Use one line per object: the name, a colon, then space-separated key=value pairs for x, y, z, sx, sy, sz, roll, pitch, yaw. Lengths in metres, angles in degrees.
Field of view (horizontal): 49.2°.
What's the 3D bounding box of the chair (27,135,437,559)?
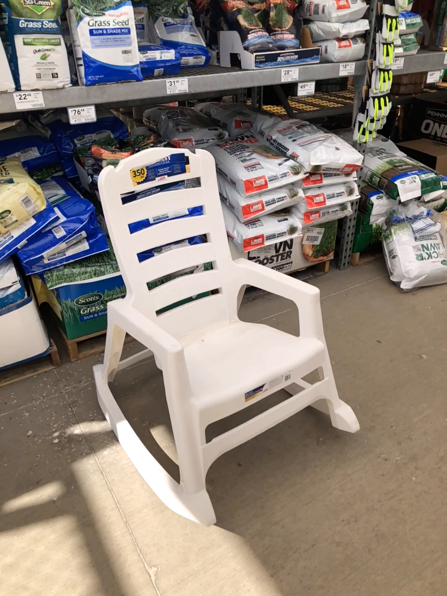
chair: x=-0.034 y=0.017 z=1.761 sx=0.846 sy=0.928 sz=1.034 roll=-19 pitch=34 yaw=-31
